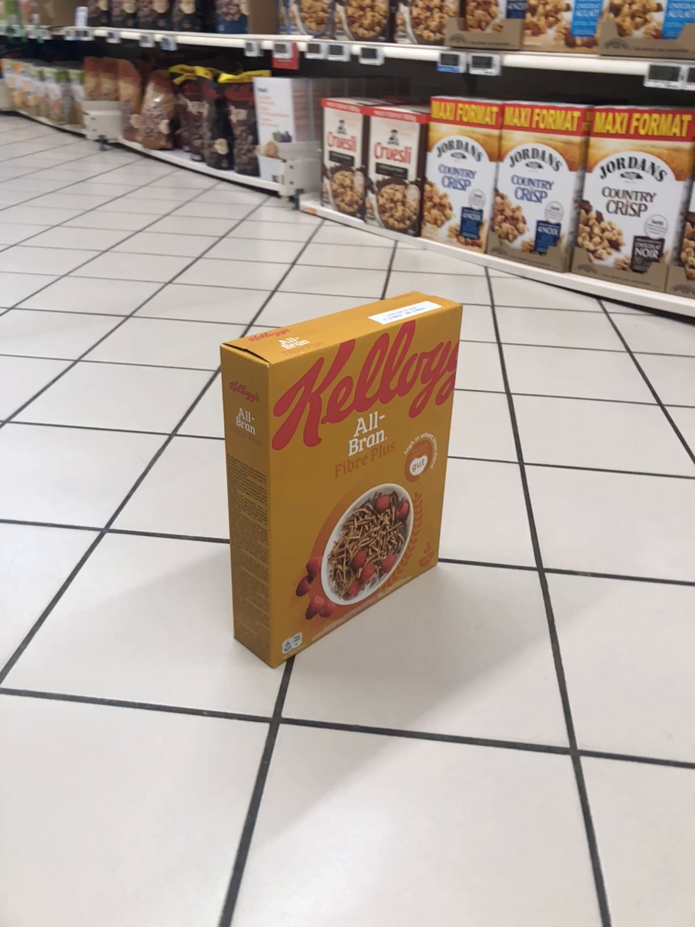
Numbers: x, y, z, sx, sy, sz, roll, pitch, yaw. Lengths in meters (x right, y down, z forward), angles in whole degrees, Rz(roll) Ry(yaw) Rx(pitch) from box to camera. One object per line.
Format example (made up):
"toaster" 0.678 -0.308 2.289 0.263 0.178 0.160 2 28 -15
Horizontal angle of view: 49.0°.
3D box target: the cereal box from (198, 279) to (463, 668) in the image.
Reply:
"cereal box" -0.007 0.002 0.576 0.191 0.239 0.060 -24 38 -38
